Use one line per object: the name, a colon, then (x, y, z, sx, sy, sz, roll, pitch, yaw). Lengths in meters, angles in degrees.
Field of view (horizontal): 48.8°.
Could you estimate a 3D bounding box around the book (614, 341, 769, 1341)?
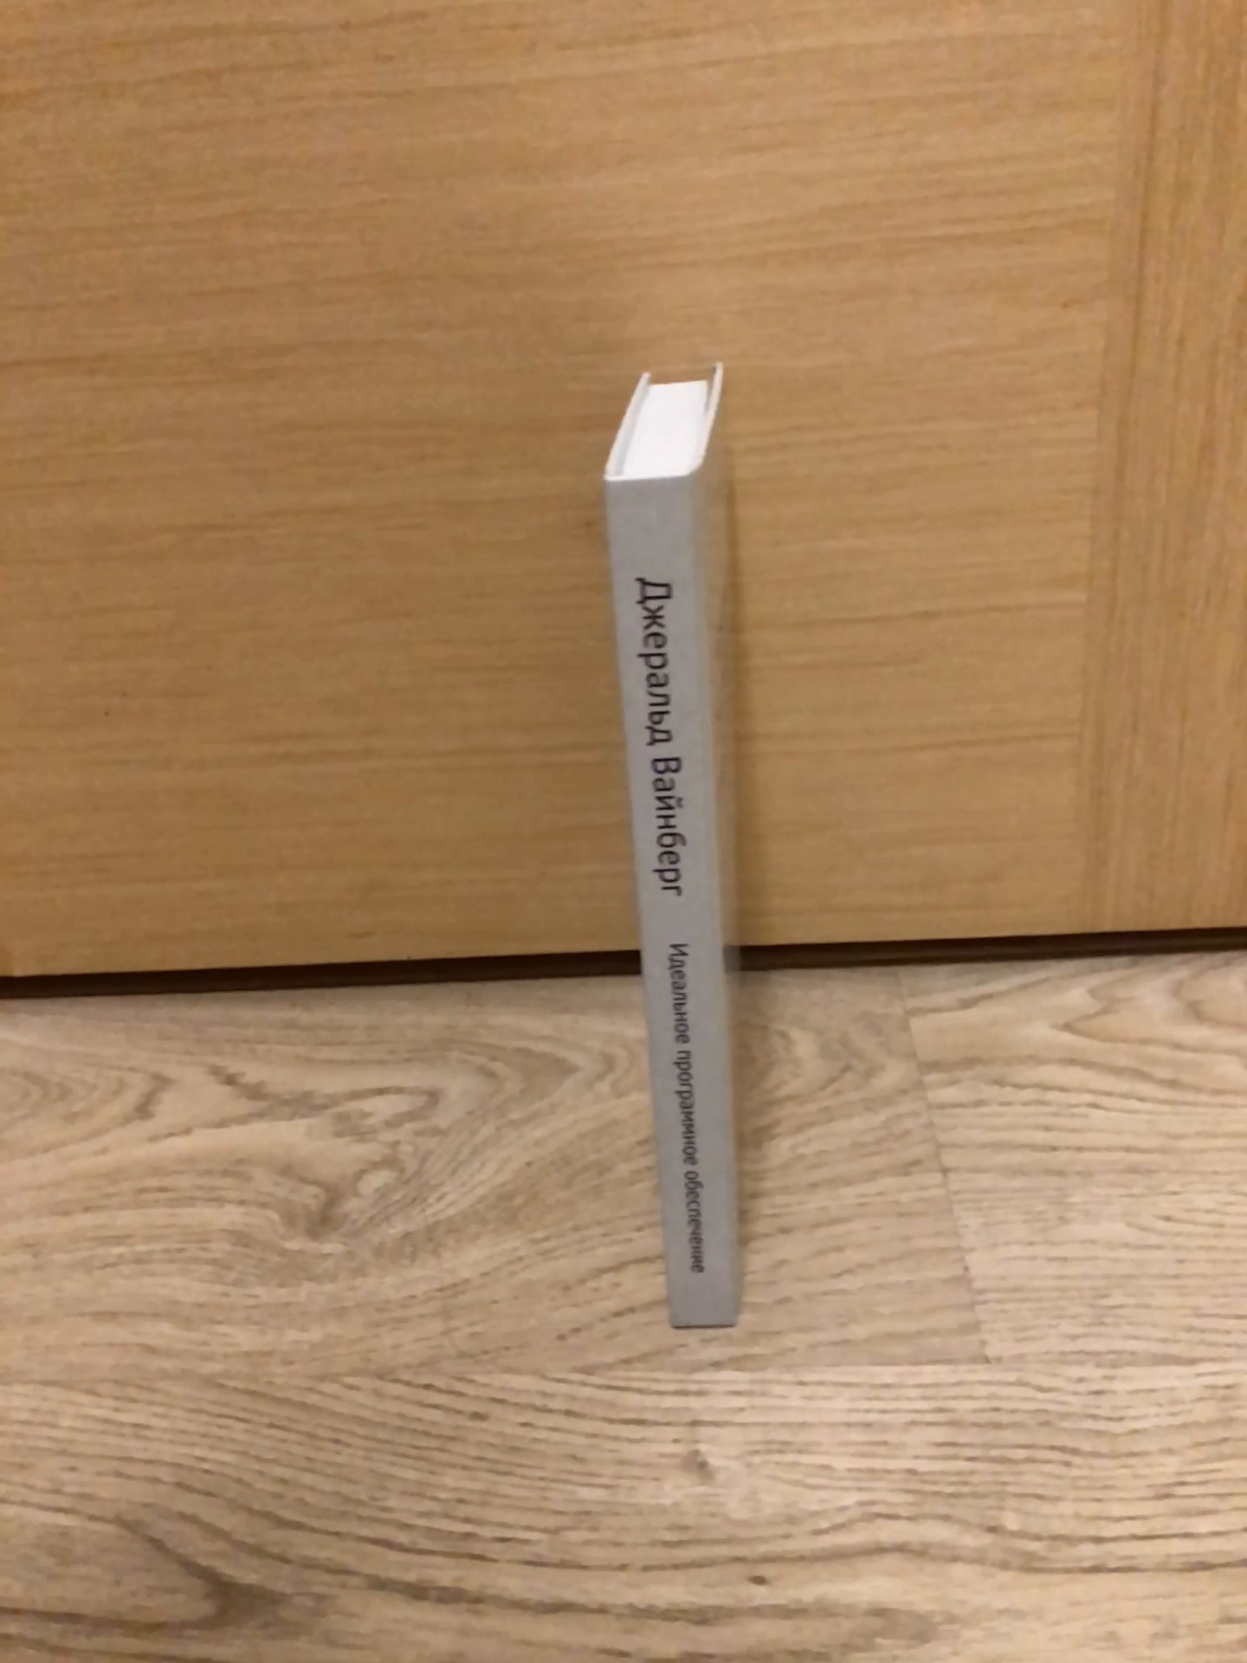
book: (0.021, -0.009, 0.358, 0.023, 0.209, 0.164, -2, 25, 5)
